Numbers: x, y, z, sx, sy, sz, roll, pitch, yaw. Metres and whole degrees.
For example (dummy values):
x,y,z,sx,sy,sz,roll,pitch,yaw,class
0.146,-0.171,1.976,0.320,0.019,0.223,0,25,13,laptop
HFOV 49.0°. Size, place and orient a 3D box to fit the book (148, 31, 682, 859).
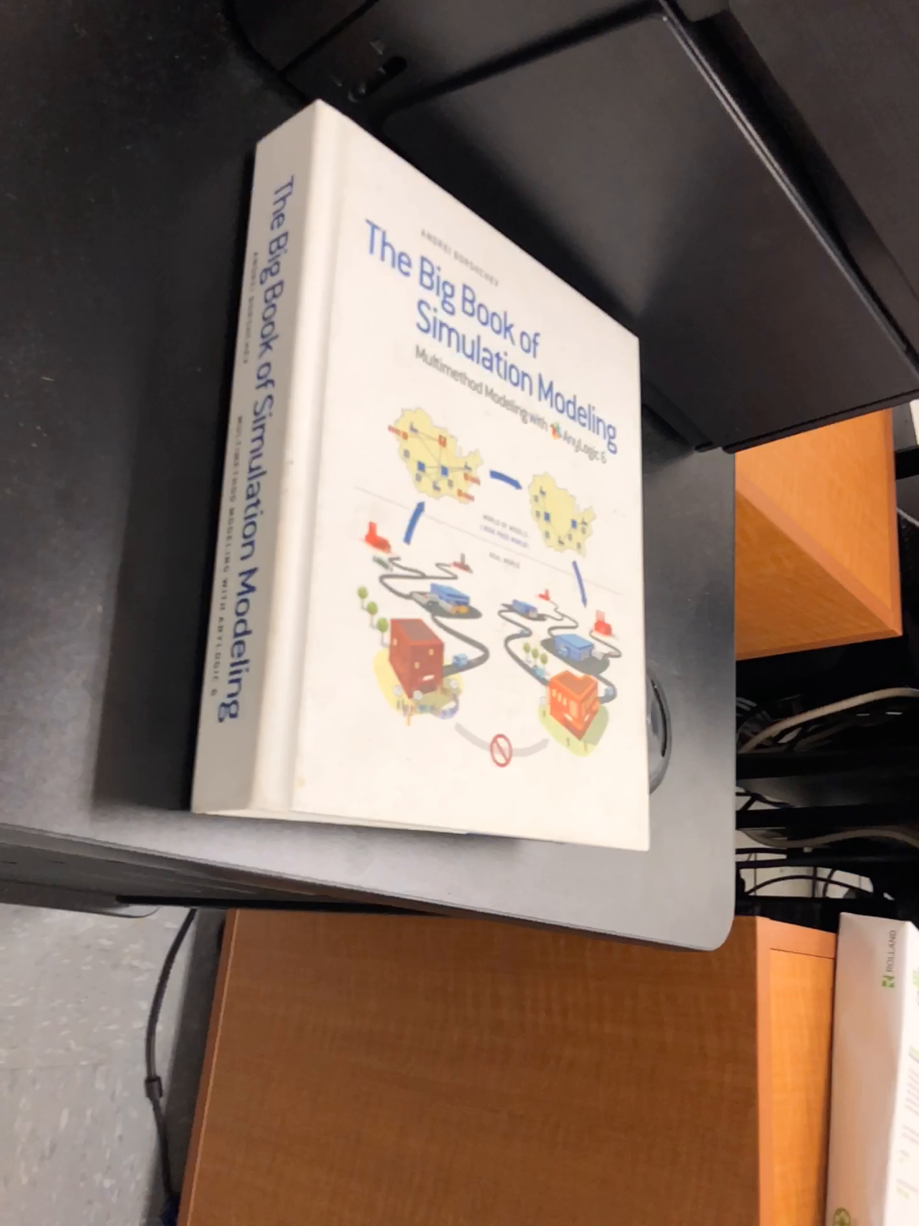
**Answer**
x,y,z,sx,sy,sz,roll,pitch,yaw,class
0.004,-0.041,0.382,0.211,0.050,0.250,18,67,-45,book
